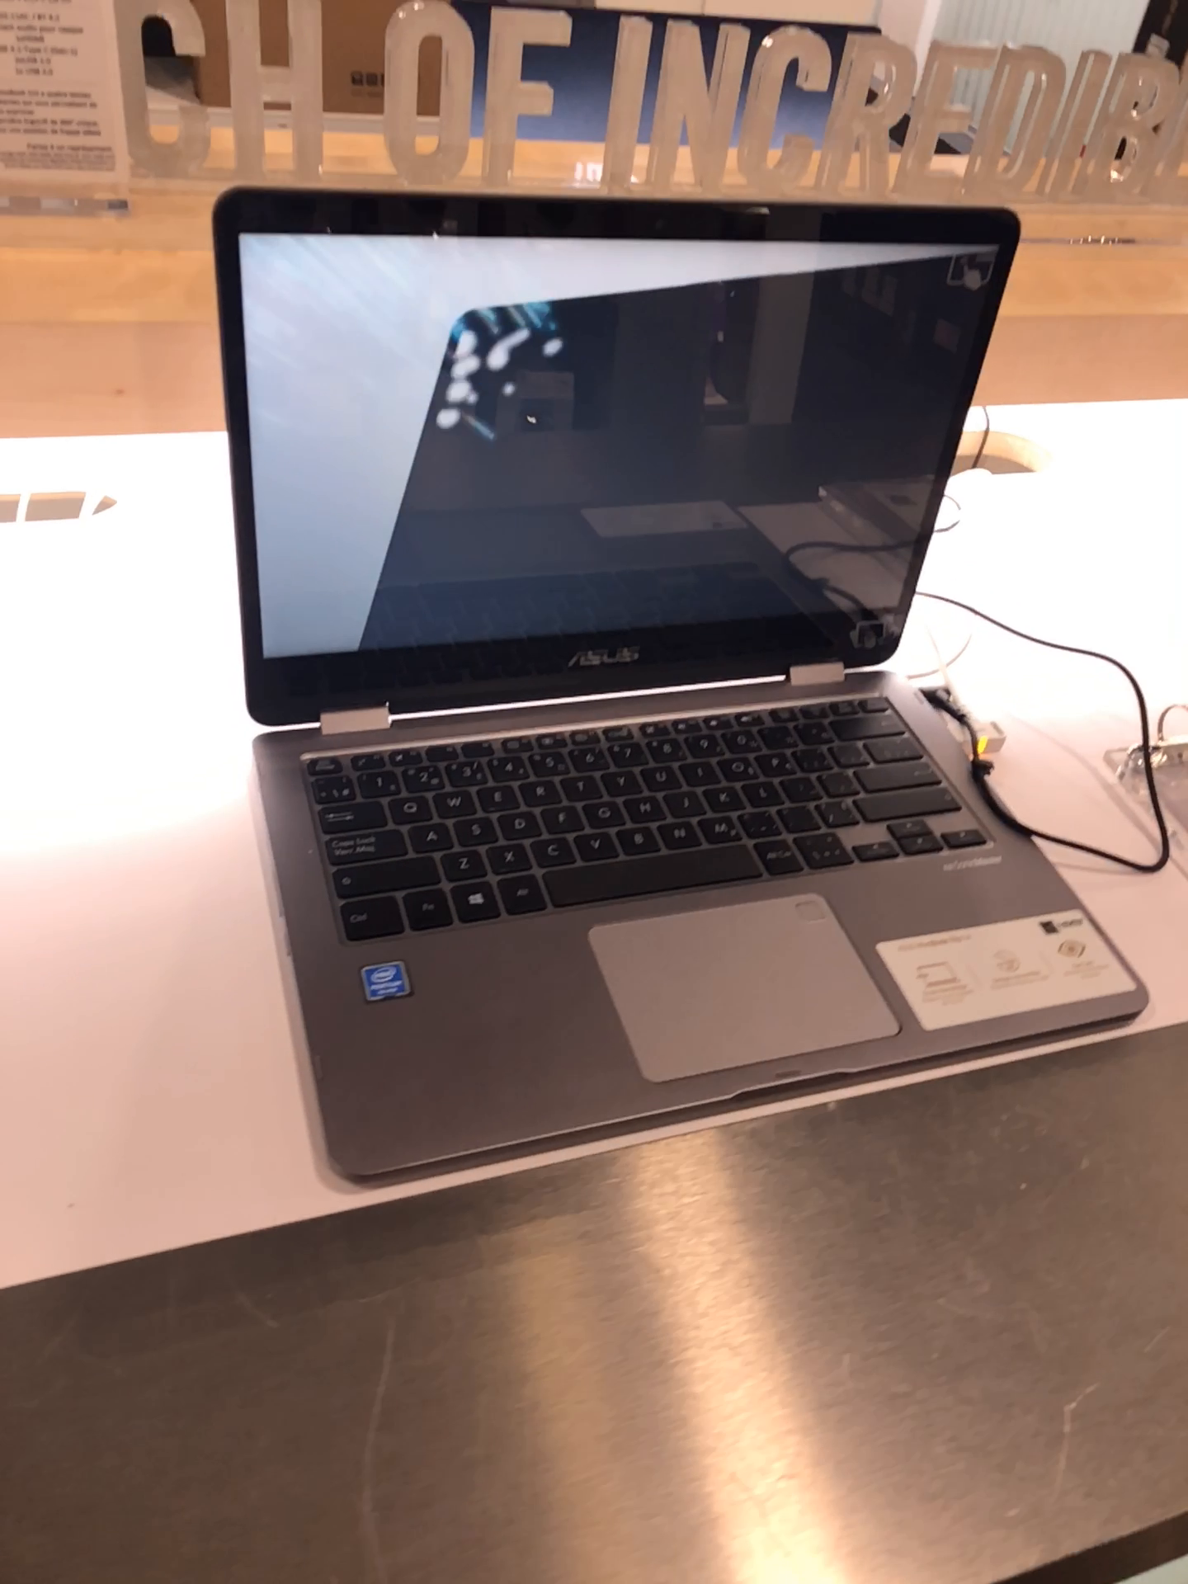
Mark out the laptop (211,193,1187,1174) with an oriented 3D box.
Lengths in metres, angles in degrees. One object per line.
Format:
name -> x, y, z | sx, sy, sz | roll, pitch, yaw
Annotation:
laptop -> 0.045, -0.050, 0.440 | 0.303, 0.211, 0.211 | -7, 45, -18
